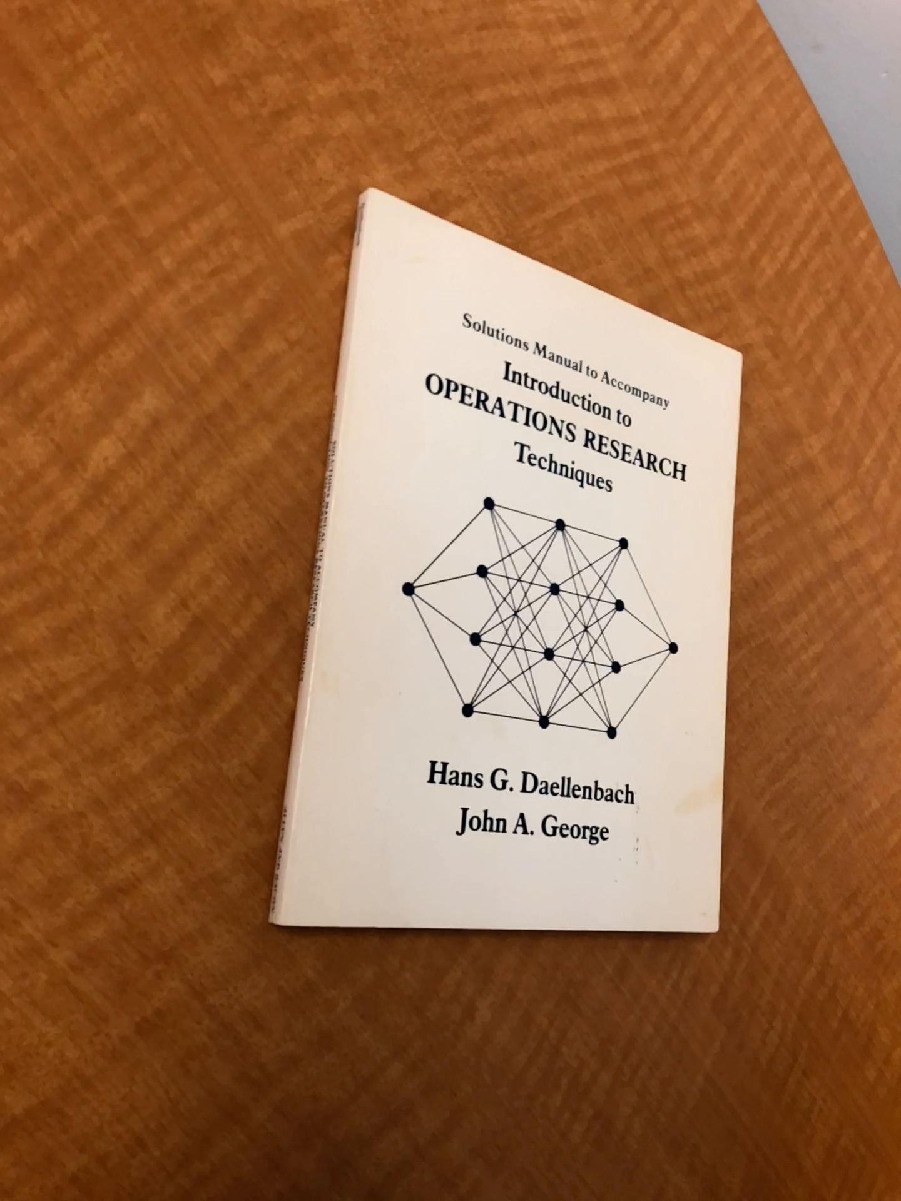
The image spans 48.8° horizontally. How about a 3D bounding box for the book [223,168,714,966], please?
[{"bbox_3d":[0.023,-0.003,0.359,0.181,0.020,0.250,12,77,-33],"label":"book"}]
